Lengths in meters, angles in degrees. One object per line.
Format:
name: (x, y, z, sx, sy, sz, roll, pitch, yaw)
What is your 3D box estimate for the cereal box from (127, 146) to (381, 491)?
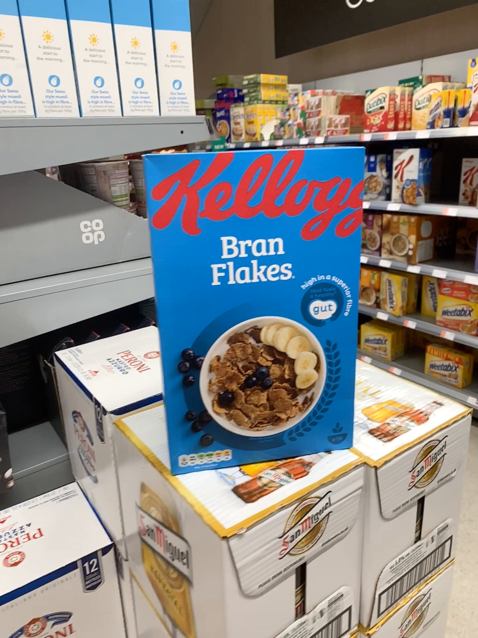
cereal box: (0.013, -0.003, 0.451, 0.200, 0.288, 0.070, -5, 17, -11)
